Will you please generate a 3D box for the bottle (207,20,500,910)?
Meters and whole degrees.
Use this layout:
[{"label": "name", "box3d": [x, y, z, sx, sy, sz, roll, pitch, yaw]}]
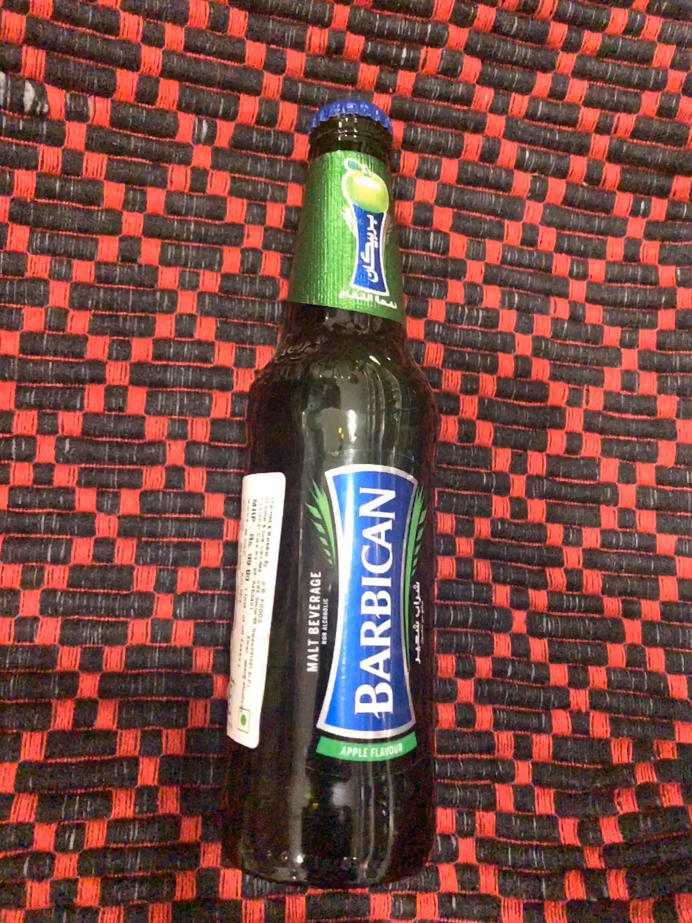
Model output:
[{"label": "bottle", "box3d": [0.000, -0.007, 0.219, 0.070, 0.050, 0.238, 3, 78, -12]}]
